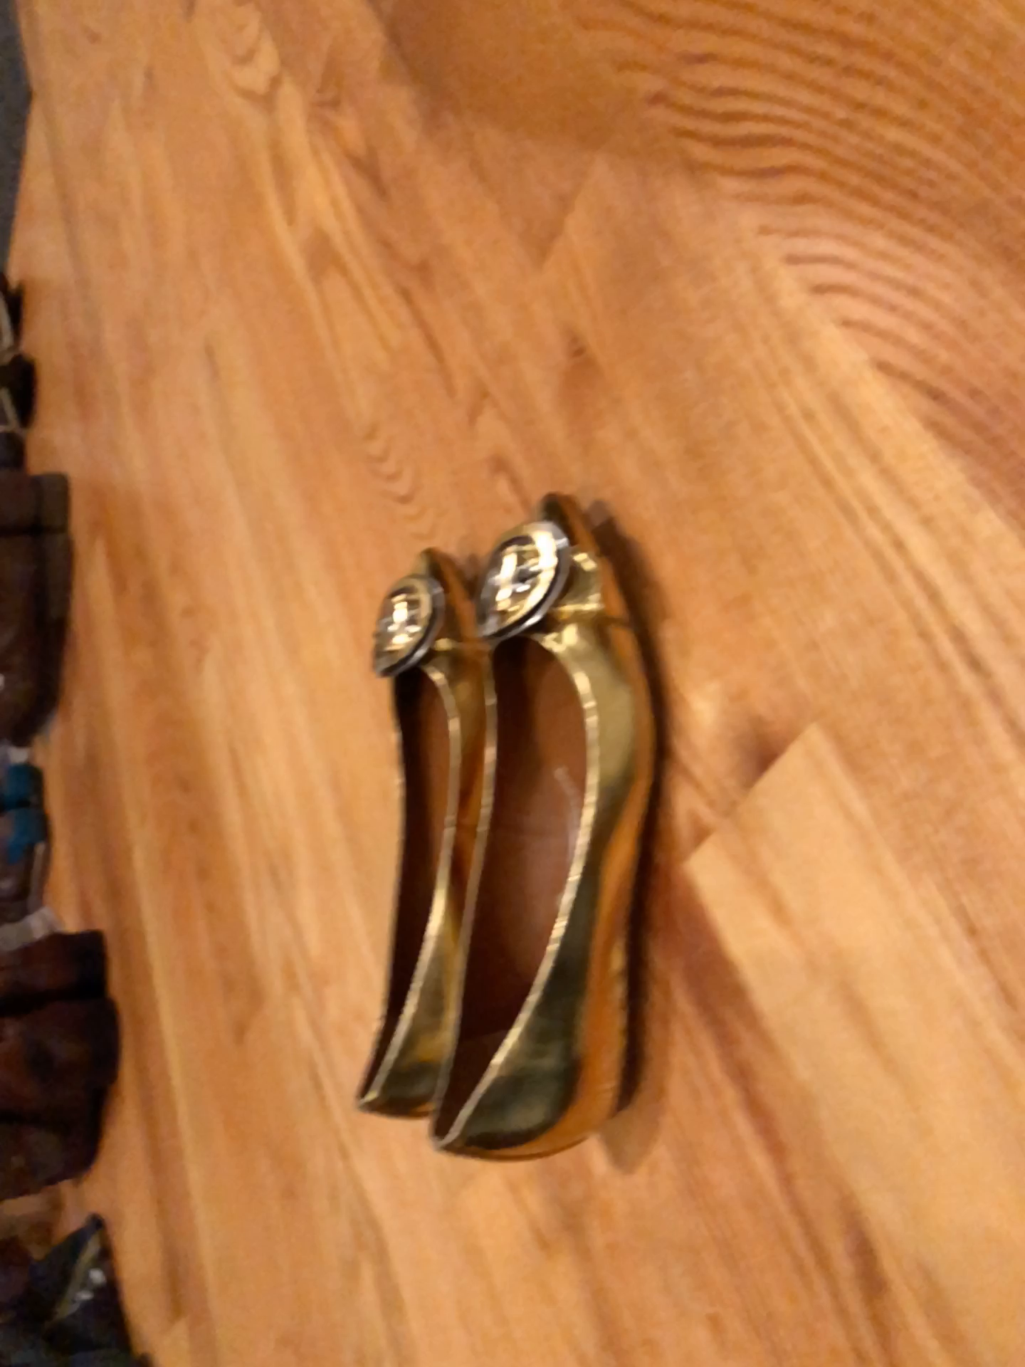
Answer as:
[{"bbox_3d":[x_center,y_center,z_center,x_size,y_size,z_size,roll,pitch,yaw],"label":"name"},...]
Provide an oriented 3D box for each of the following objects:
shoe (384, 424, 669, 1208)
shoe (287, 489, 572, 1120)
[{"bbox_3d":[0.002,0.043,0.414,0.077,0.066,0.249,-9,81,59],"label":"shoe"},{"bbox_3d":[-0.041,0.050,0.486,0.083,0.066,0.244,-29,65,55],"label":"shoe"}]
